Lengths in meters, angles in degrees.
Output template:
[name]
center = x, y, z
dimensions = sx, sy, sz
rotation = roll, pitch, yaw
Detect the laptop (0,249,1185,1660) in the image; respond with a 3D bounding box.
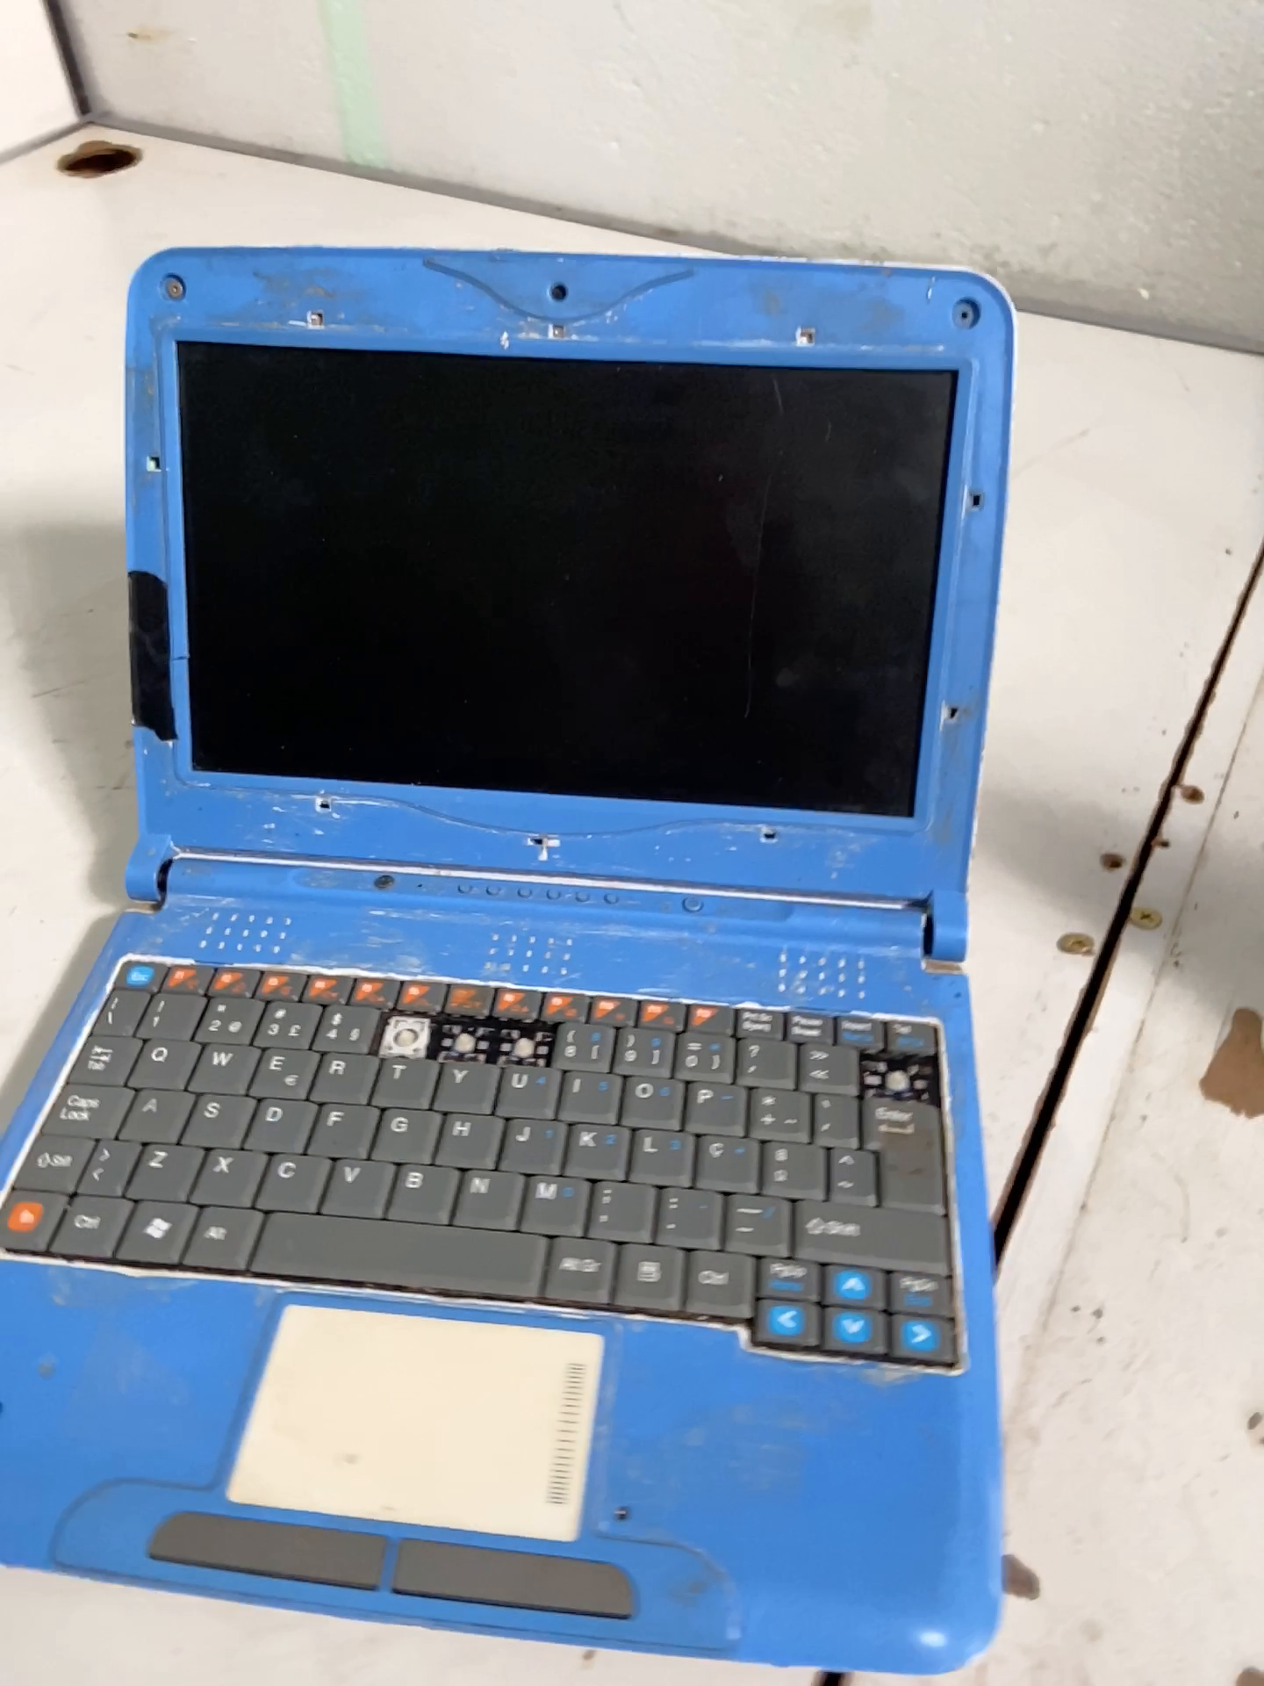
[laptop]
center = -0.039, -0.003, 0.314
dimensions = 0.240, 0.149, 0.288
rotation = 3, 47, 5
